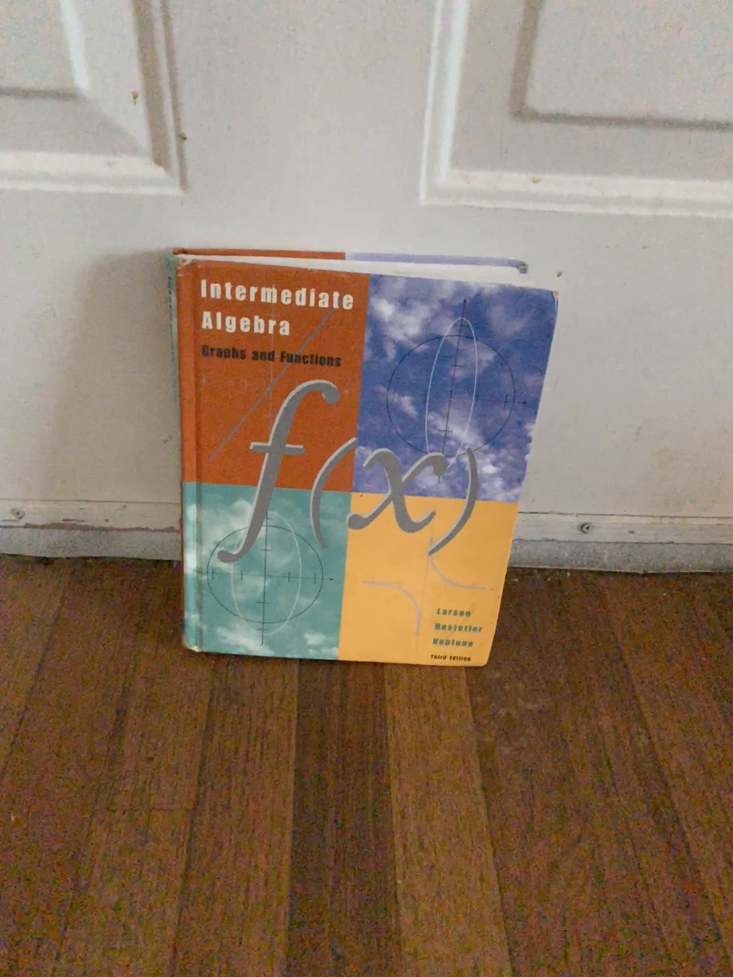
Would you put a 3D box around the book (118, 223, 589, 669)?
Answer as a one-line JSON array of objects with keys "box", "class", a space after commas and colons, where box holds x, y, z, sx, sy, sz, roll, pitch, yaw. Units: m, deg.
[{"box": [-0.011, -0.018, 0.447, 0.230, 0.249, 0.060, 3, 25, 1], "class": "book"}]
